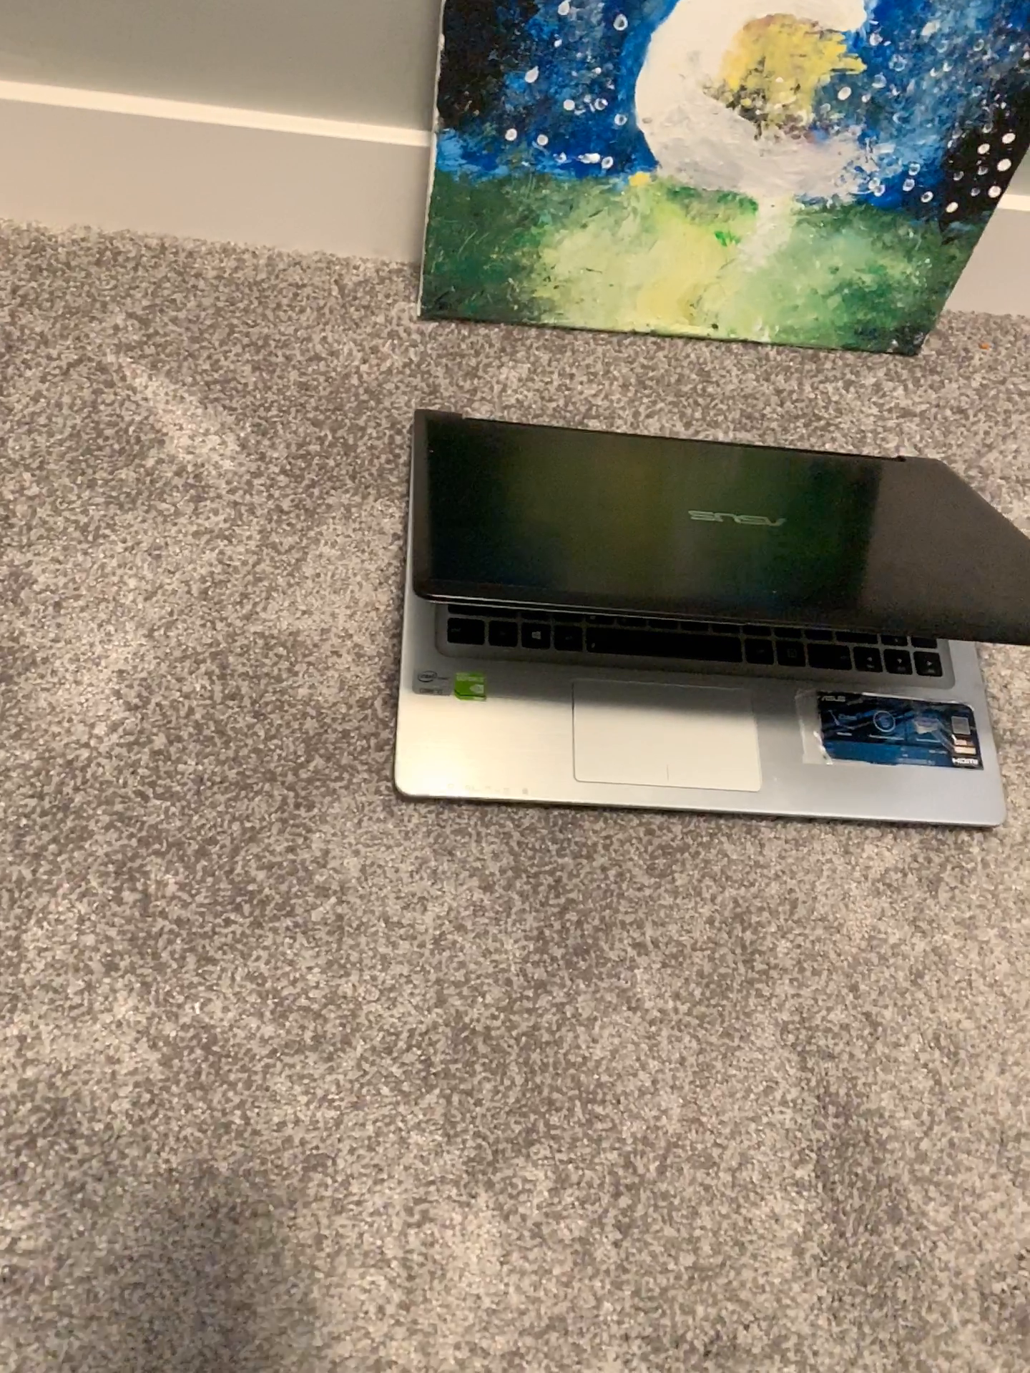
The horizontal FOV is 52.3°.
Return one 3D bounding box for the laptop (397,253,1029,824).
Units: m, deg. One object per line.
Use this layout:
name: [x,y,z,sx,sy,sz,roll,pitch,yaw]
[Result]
laptop: [0.121,-0.073,0.582,0.355,0.134,0.253,4,66,-8]
